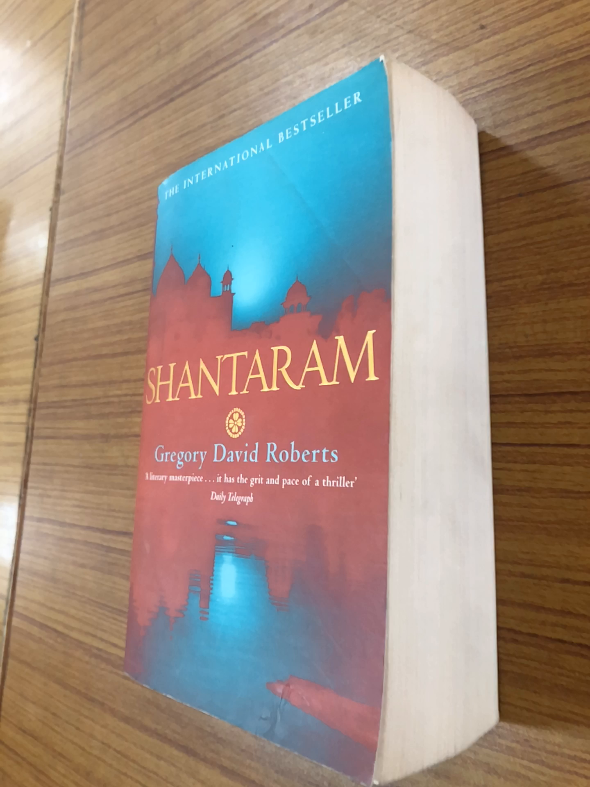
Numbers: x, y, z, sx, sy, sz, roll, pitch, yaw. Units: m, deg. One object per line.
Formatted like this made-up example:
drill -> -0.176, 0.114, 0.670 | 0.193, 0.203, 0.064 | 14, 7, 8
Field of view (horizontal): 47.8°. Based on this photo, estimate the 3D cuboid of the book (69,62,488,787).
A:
book -> -0.014, 0.012, 0.240 | 0.151, 0.050, 0.190 | -7, 78, 43
